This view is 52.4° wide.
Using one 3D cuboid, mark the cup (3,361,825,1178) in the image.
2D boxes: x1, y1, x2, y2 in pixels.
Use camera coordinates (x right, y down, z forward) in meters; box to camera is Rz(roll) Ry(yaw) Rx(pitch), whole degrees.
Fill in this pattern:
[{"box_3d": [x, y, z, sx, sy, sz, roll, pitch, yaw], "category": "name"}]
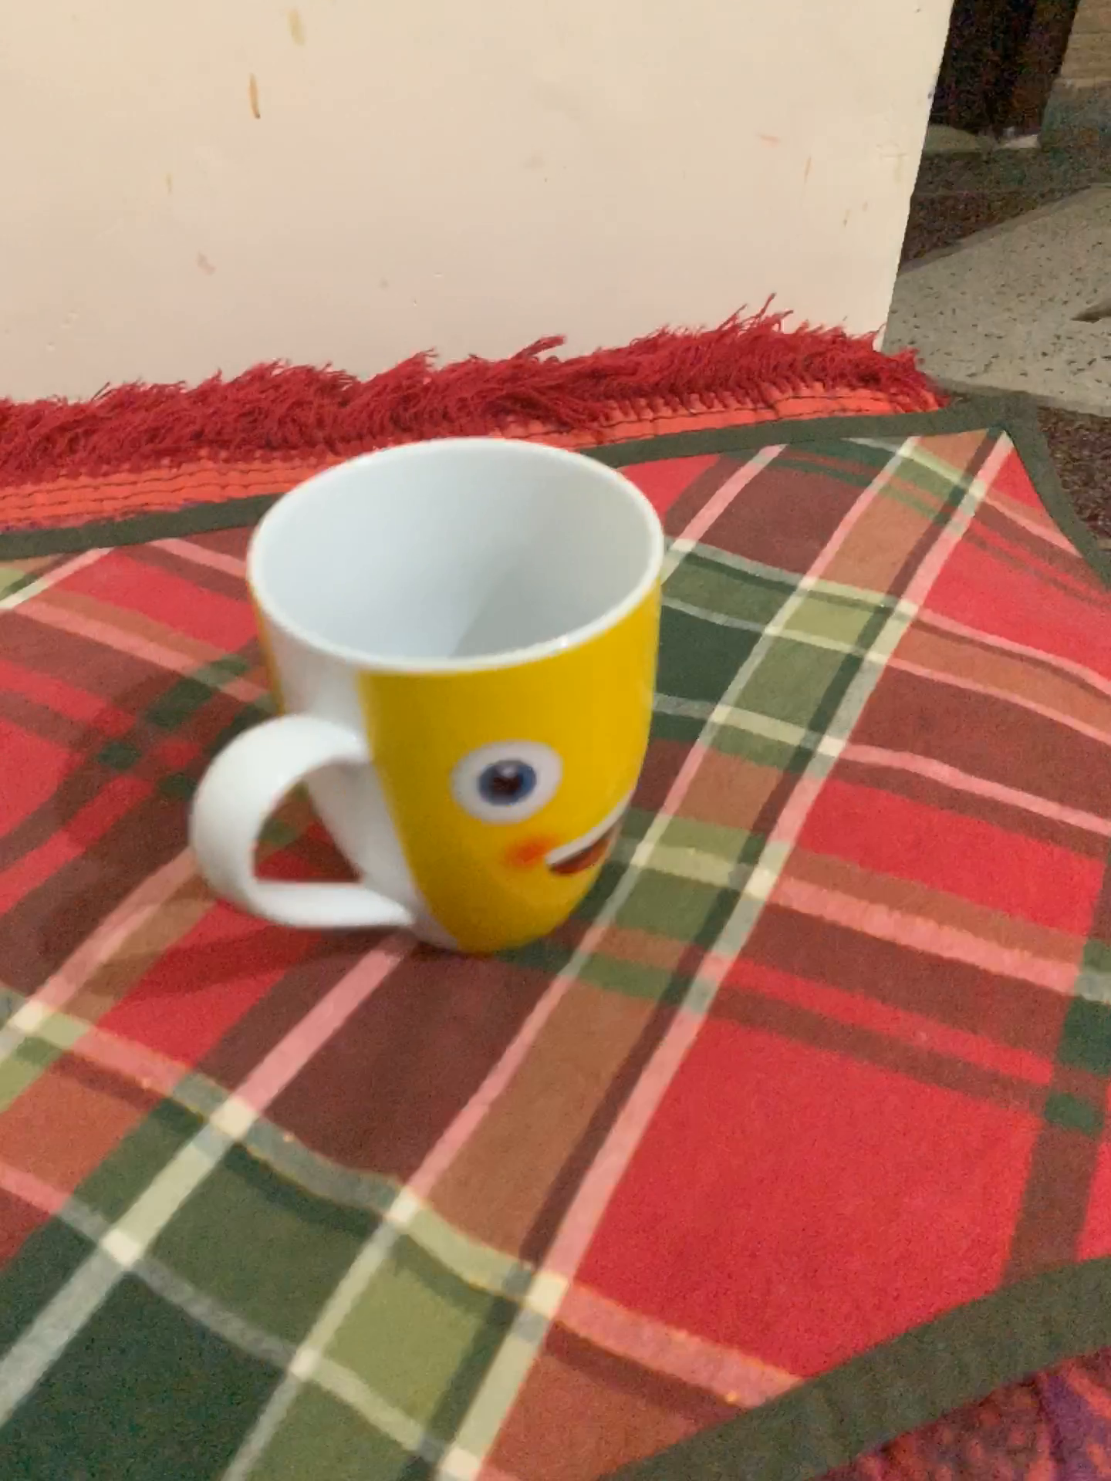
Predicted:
[{"box_3d": [-0.017, -0.003, 0.219, 0.080, 0.080, 0.120, 26, 49, 25], "category": "cup"}]
